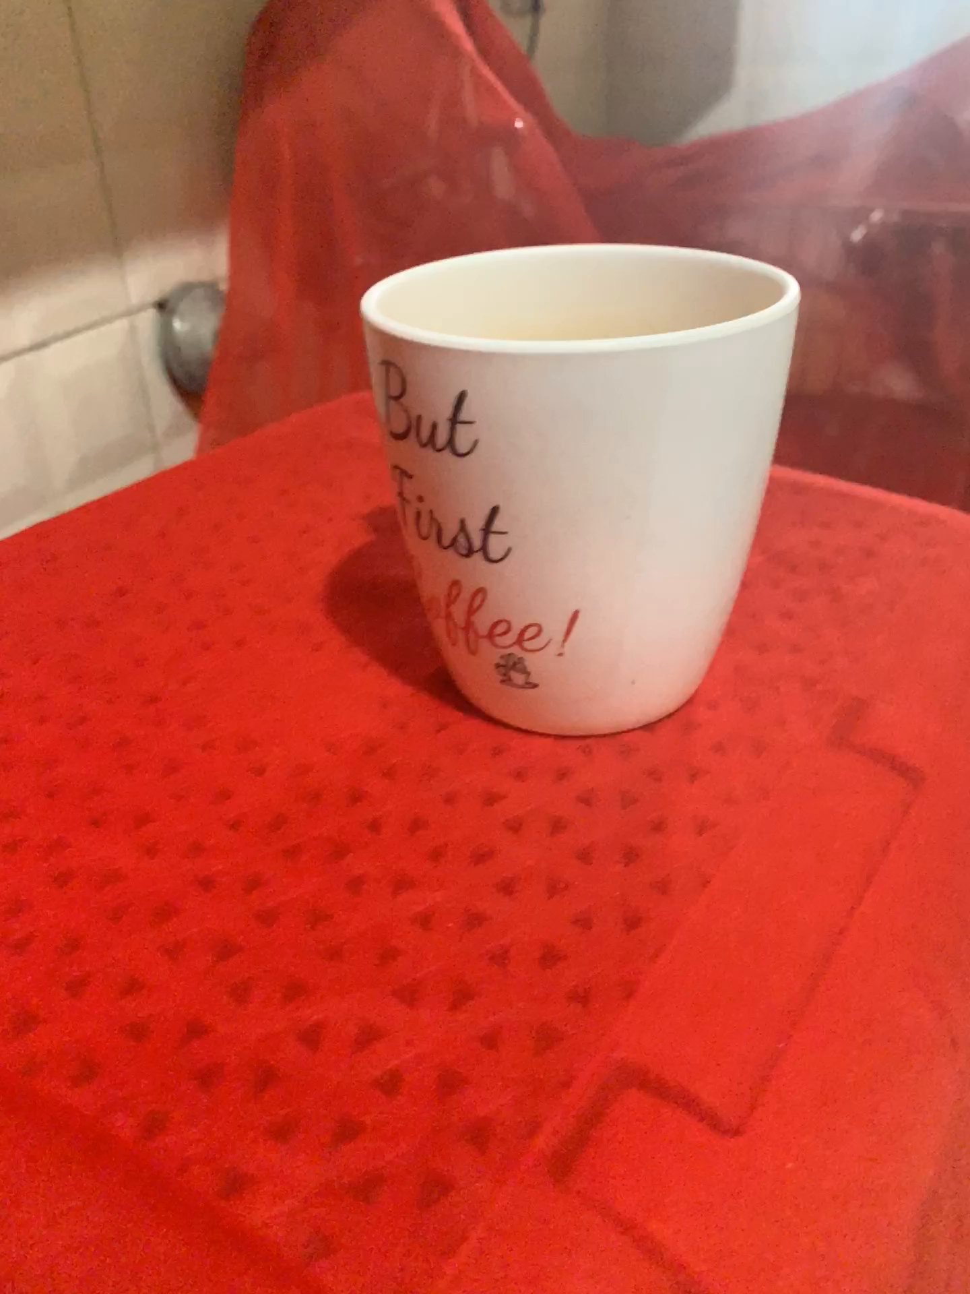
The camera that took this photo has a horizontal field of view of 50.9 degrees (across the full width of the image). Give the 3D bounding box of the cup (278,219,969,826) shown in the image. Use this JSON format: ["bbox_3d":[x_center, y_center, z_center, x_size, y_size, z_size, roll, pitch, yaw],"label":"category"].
[{"bbox_3d":[0.024,-0.039,0.224,0.090,0.079,0.111,-20,36,-27],"label":"cup"}]
